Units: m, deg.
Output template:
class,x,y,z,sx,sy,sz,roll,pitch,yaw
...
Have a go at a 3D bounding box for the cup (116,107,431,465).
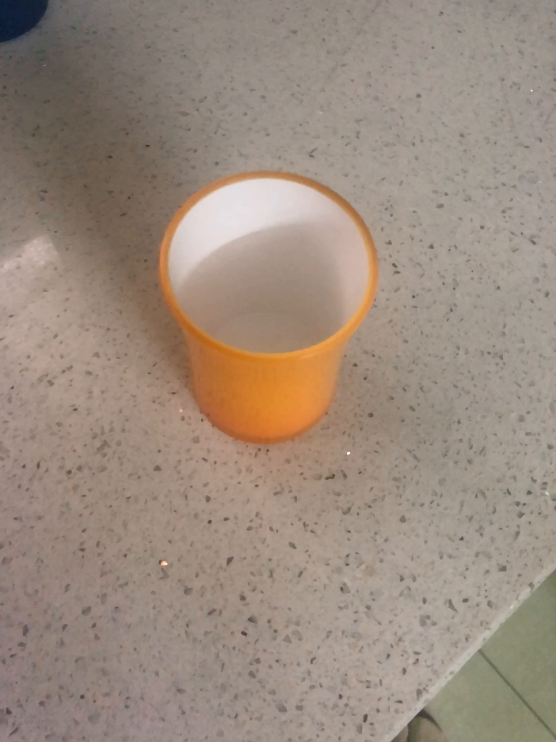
class,x,y,z,sx,sy,sz,roll,pitch,yaw
cup,-0.005,-0.023,0.239,0.080,0.110,0.080,0,68,-1
